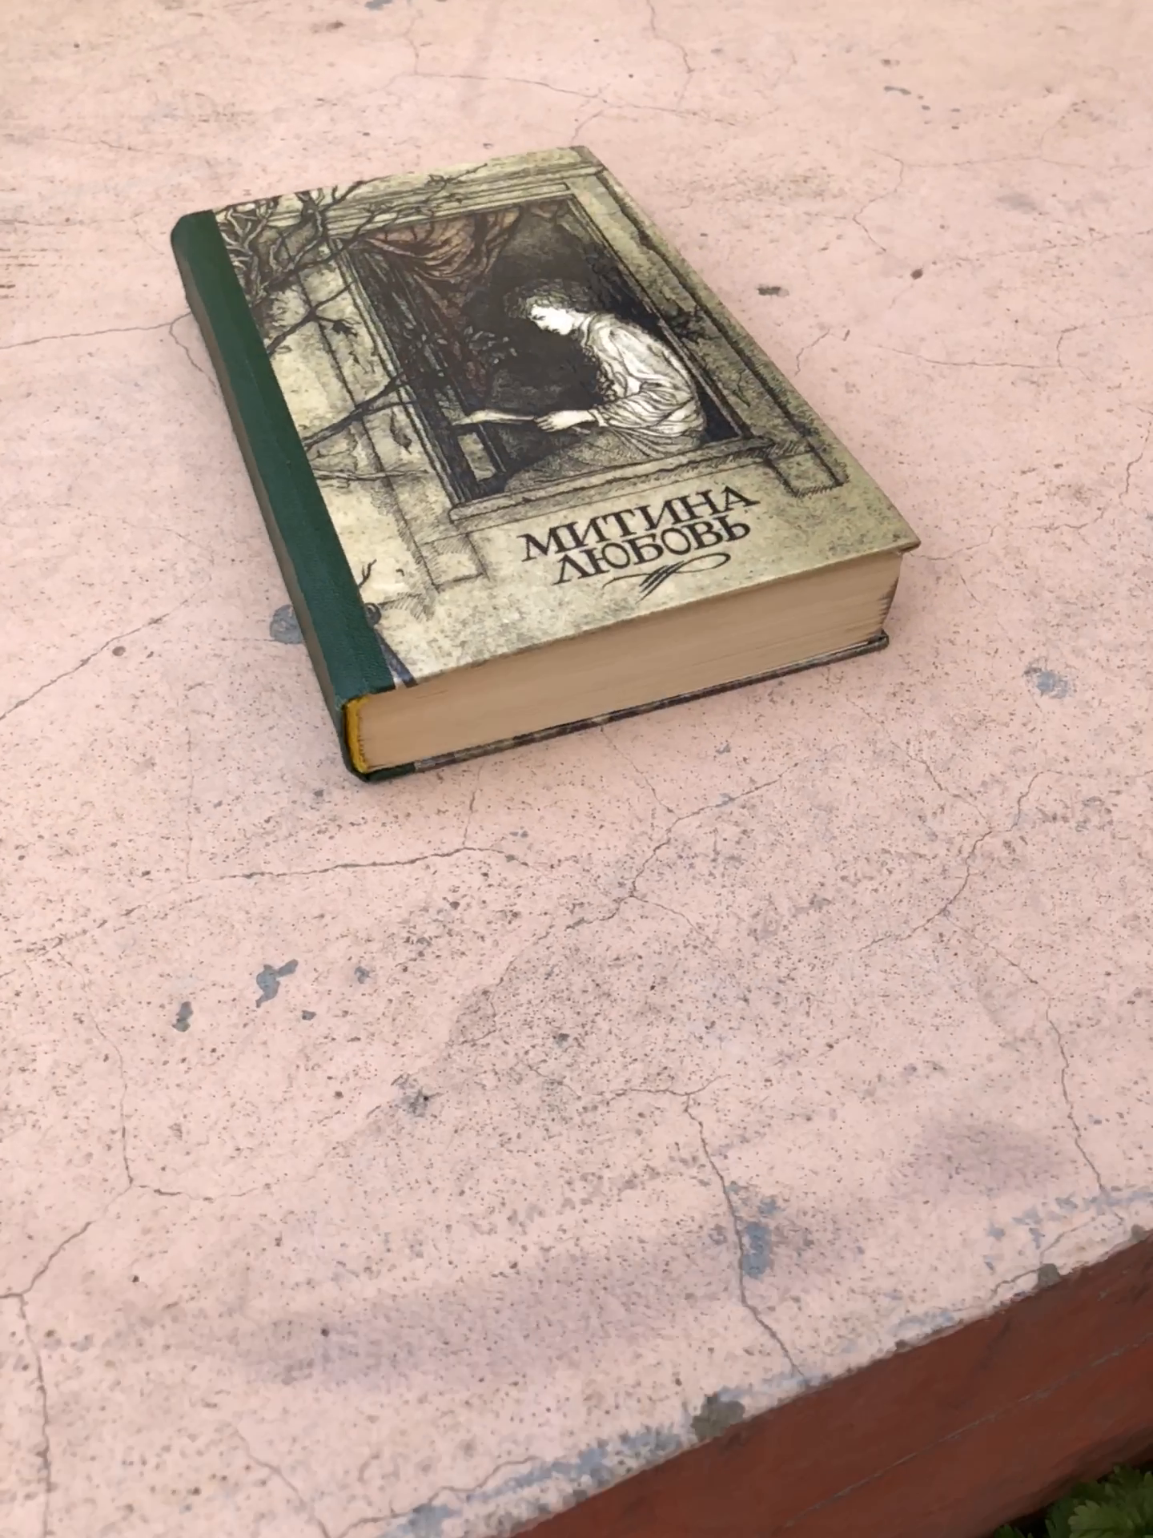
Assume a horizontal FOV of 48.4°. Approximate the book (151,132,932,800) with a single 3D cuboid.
[{"bbox_3d":[-0.024,-0.098,0.342,0.135,0.035,0.214,-16,51,-14],"label":"book"}]
